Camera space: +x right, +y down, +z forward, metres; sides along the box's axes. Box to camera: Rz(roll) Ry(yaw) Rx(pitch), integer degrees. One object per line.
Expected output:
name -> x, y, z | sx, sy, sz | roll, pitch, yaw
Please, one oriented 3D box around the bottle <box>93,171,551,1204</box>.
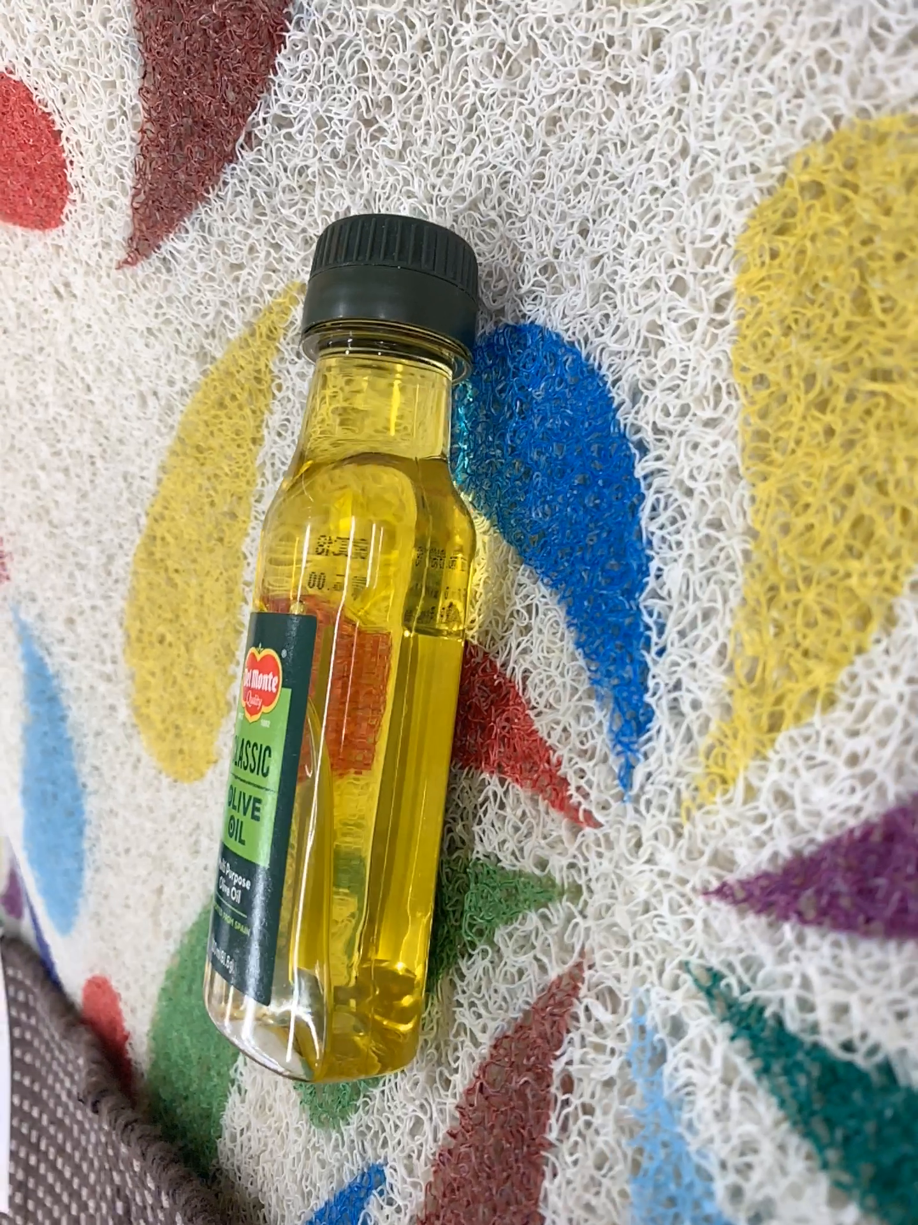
bottle -> -0.023, 0.009, 0.152 | 0.050, 0.040, 0.130 | 6, 91, 47
